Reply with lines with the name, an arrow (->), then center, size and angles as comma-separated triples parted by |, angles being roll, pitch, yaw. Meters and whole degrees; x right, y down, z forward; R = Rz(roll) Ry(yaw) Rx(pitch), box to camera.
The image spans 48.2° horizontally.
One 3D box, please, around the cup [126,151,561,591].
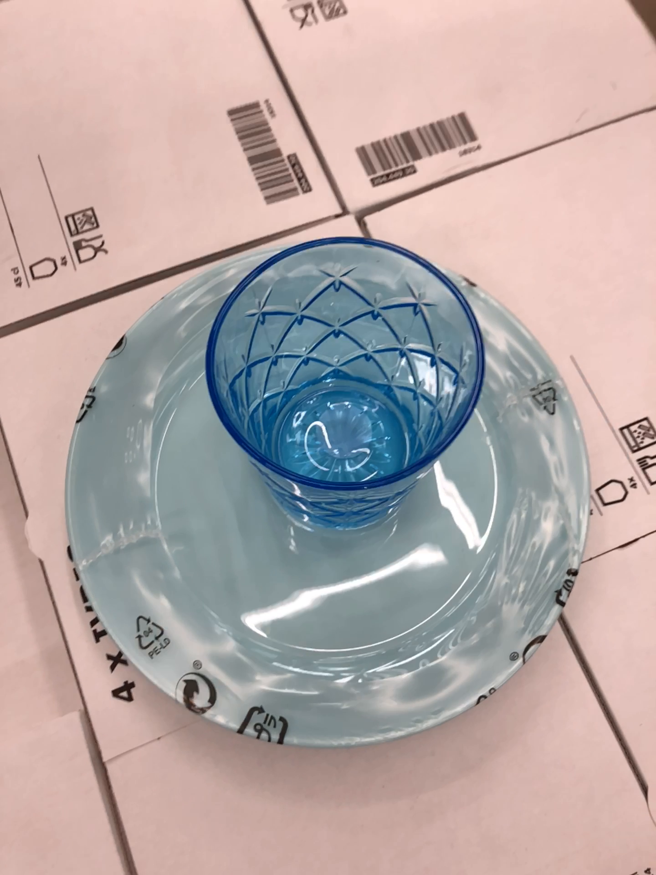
cup -> 0.005, -0.015, 0.262 | 0.090, 0.100, 0.090 | 0, 72, 1
